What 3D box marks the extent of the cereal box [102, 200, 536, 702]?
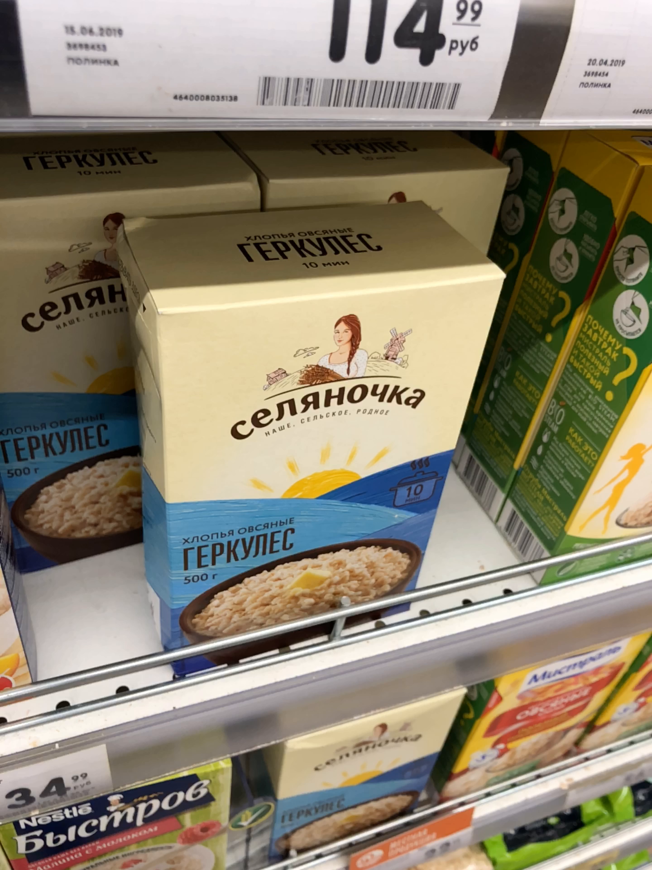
[{"bbox_3d":[-0.012,0.014,0.302,0.130,0.199,0.060,-9,43,-19],"label":"cereal box"}]
